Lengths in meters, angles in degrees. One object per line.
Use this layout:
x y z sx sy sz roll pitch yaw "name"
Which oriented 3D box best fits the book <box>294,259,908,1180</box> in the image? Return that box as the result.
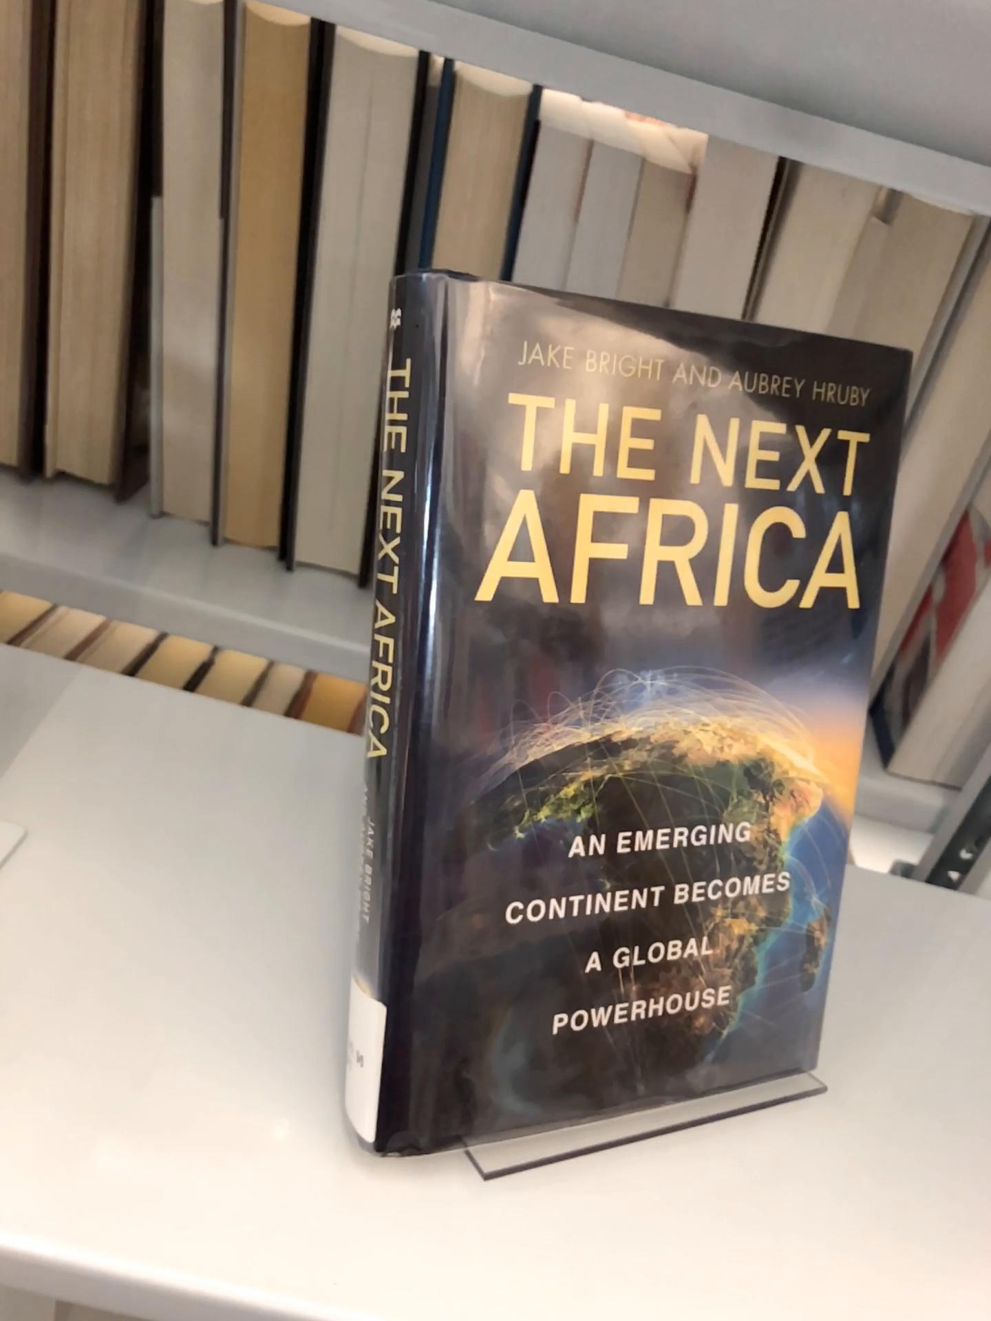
0.030 0.017 0.298 0.153 0.211 0.030 0 9 -27 "book"
